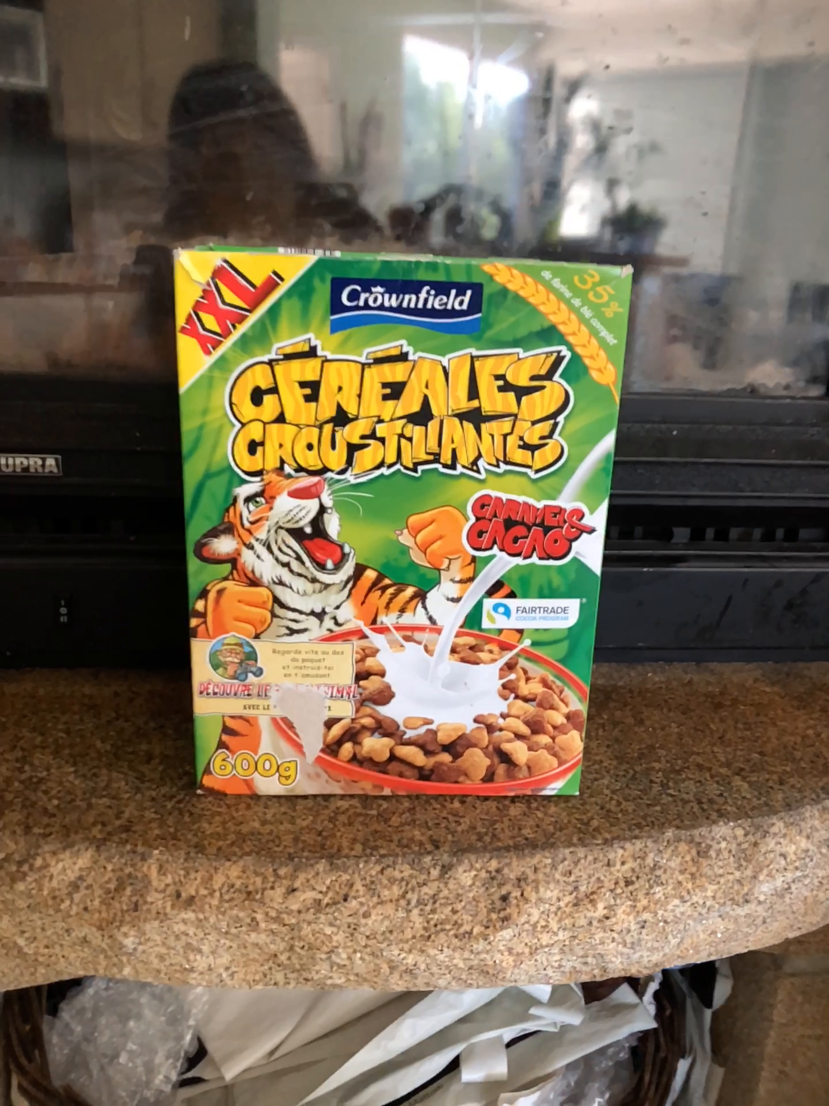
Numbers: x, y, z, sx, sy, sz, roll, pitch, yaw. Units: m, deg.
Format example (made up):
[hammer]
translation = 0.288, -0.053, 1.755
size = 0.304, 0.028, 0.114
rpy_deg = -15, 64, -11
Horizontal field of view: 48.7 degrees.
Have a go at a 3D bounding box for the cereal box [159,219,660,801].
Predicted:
[cereal box]
translation = -0.009, -0.019, 0.446
size = 0.200, 0.259, 0.090
rpy_deg = 1, 18, -6
